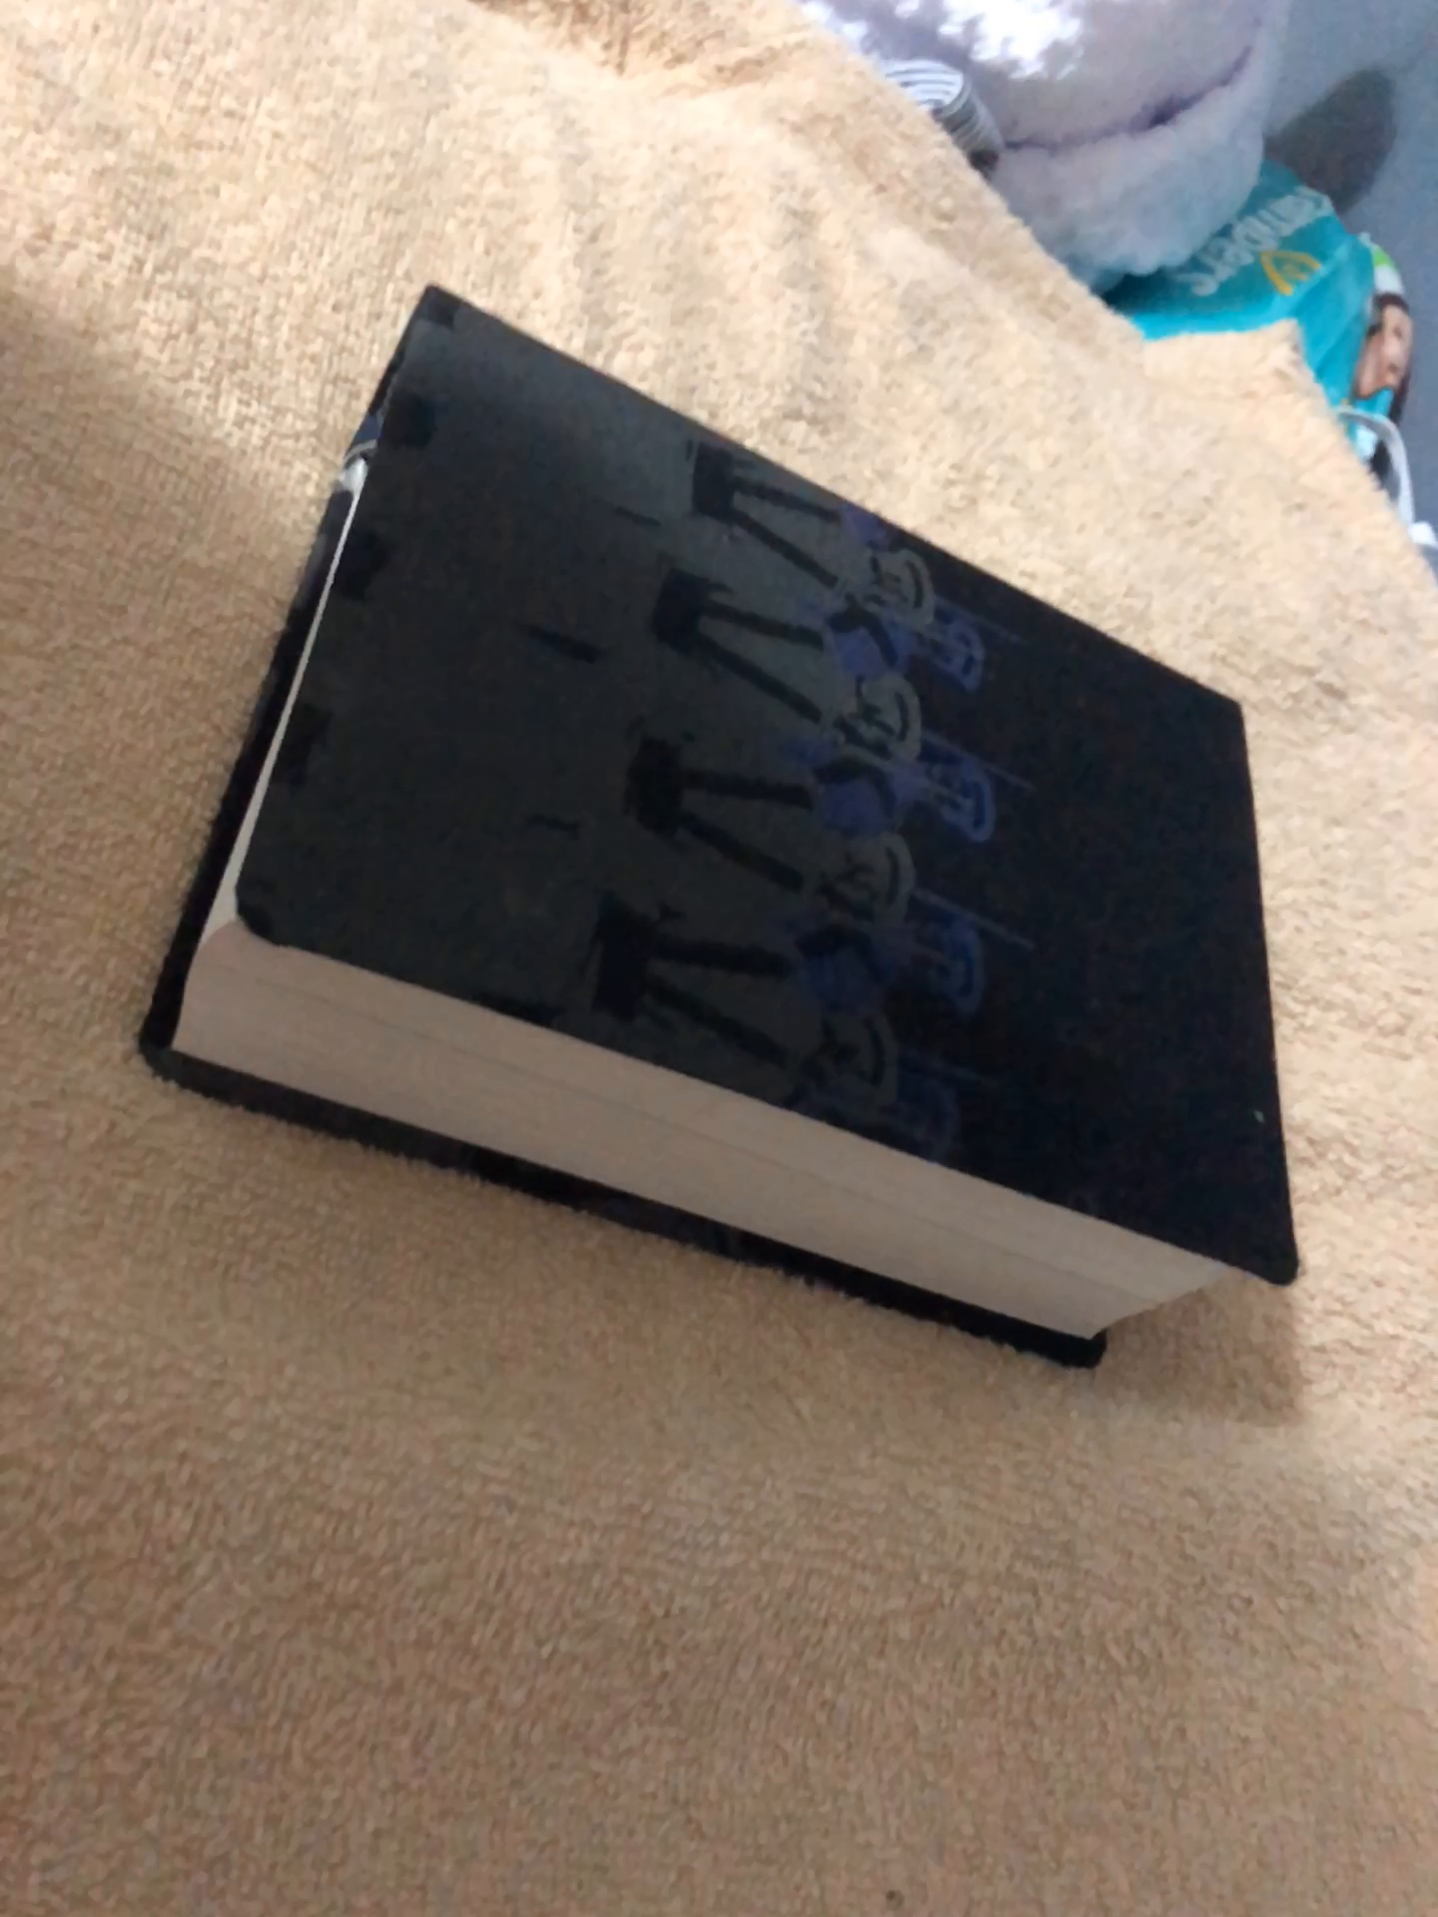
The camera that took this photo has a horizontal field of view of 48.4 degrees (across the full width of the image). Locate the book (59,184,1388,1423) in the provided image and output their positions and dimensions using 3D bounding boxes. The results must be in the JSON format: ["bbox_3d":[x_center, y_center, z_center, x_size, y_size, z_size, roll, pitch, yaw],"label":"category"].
[{"bbox_3d":[0.014,-0.020,0.266,0.190,0.050,0.141,22,54,-22],"label":"book"}]
